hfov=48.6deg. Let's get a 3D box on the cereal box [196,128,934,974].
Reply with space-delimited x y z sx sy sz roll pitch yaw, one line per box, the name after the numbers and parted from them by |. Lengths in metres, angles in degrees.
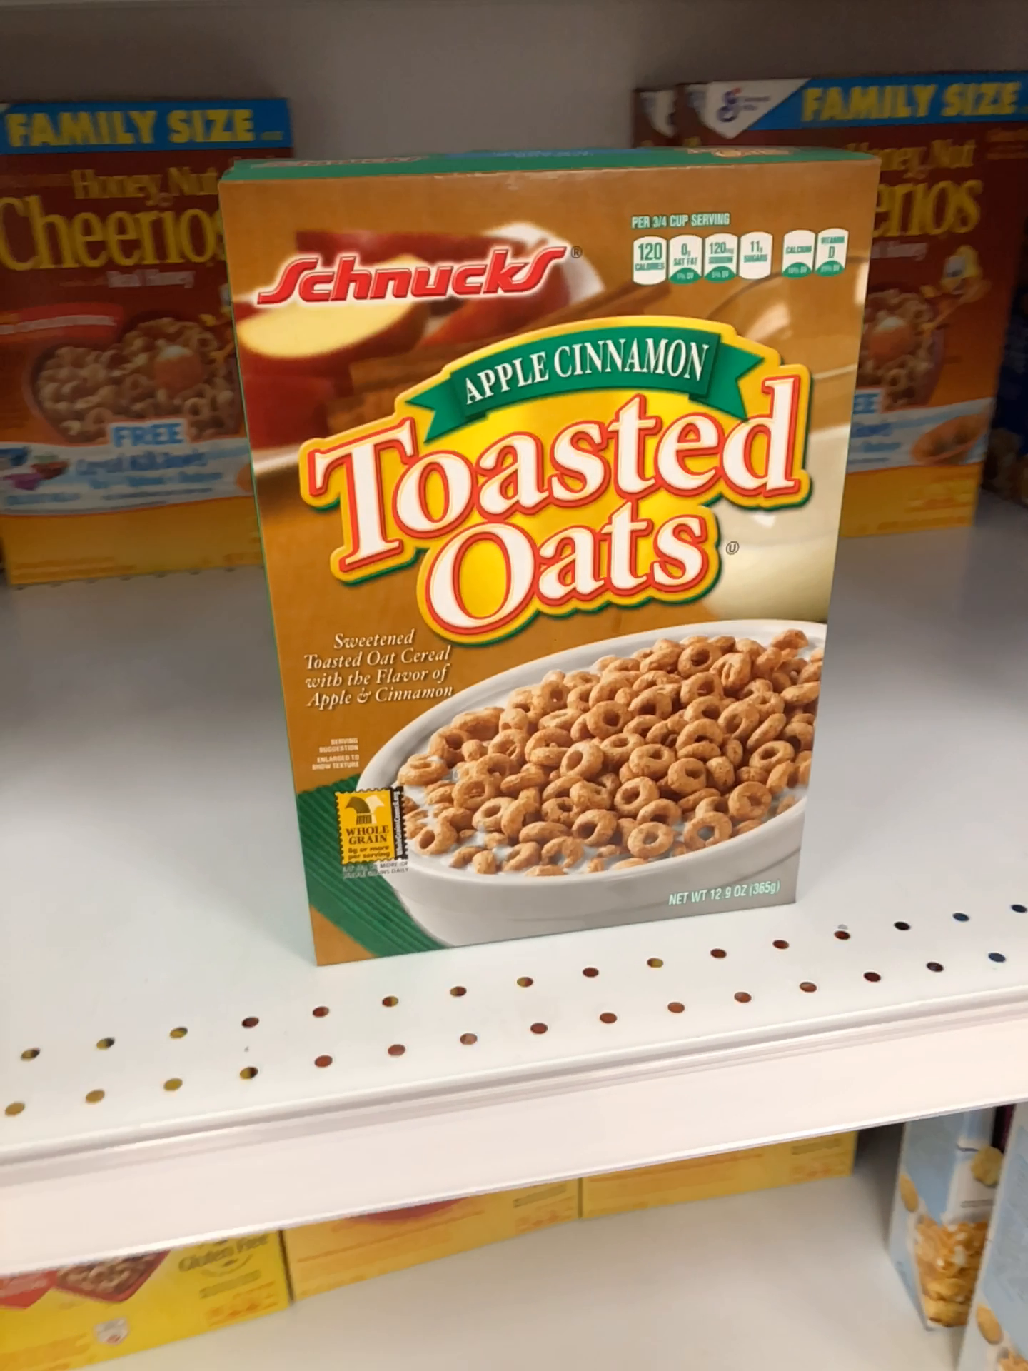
0.015 -0.041 0.403 0.210 0.279 0.060 -5 27 -10 | cereal box
